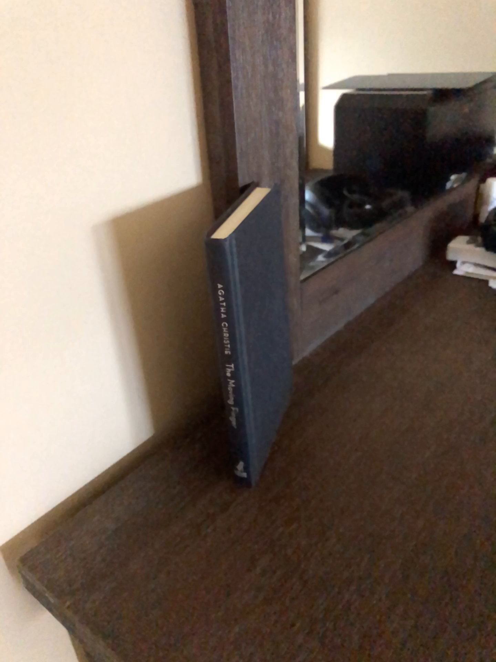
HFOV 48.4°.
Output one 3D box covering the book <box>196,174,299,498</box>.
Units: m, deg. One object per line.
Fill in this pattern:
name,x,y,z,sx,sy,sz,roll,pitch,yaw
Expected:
book,0.010,0.001,0.470,0.028,0.229,0.151,4,29,17
